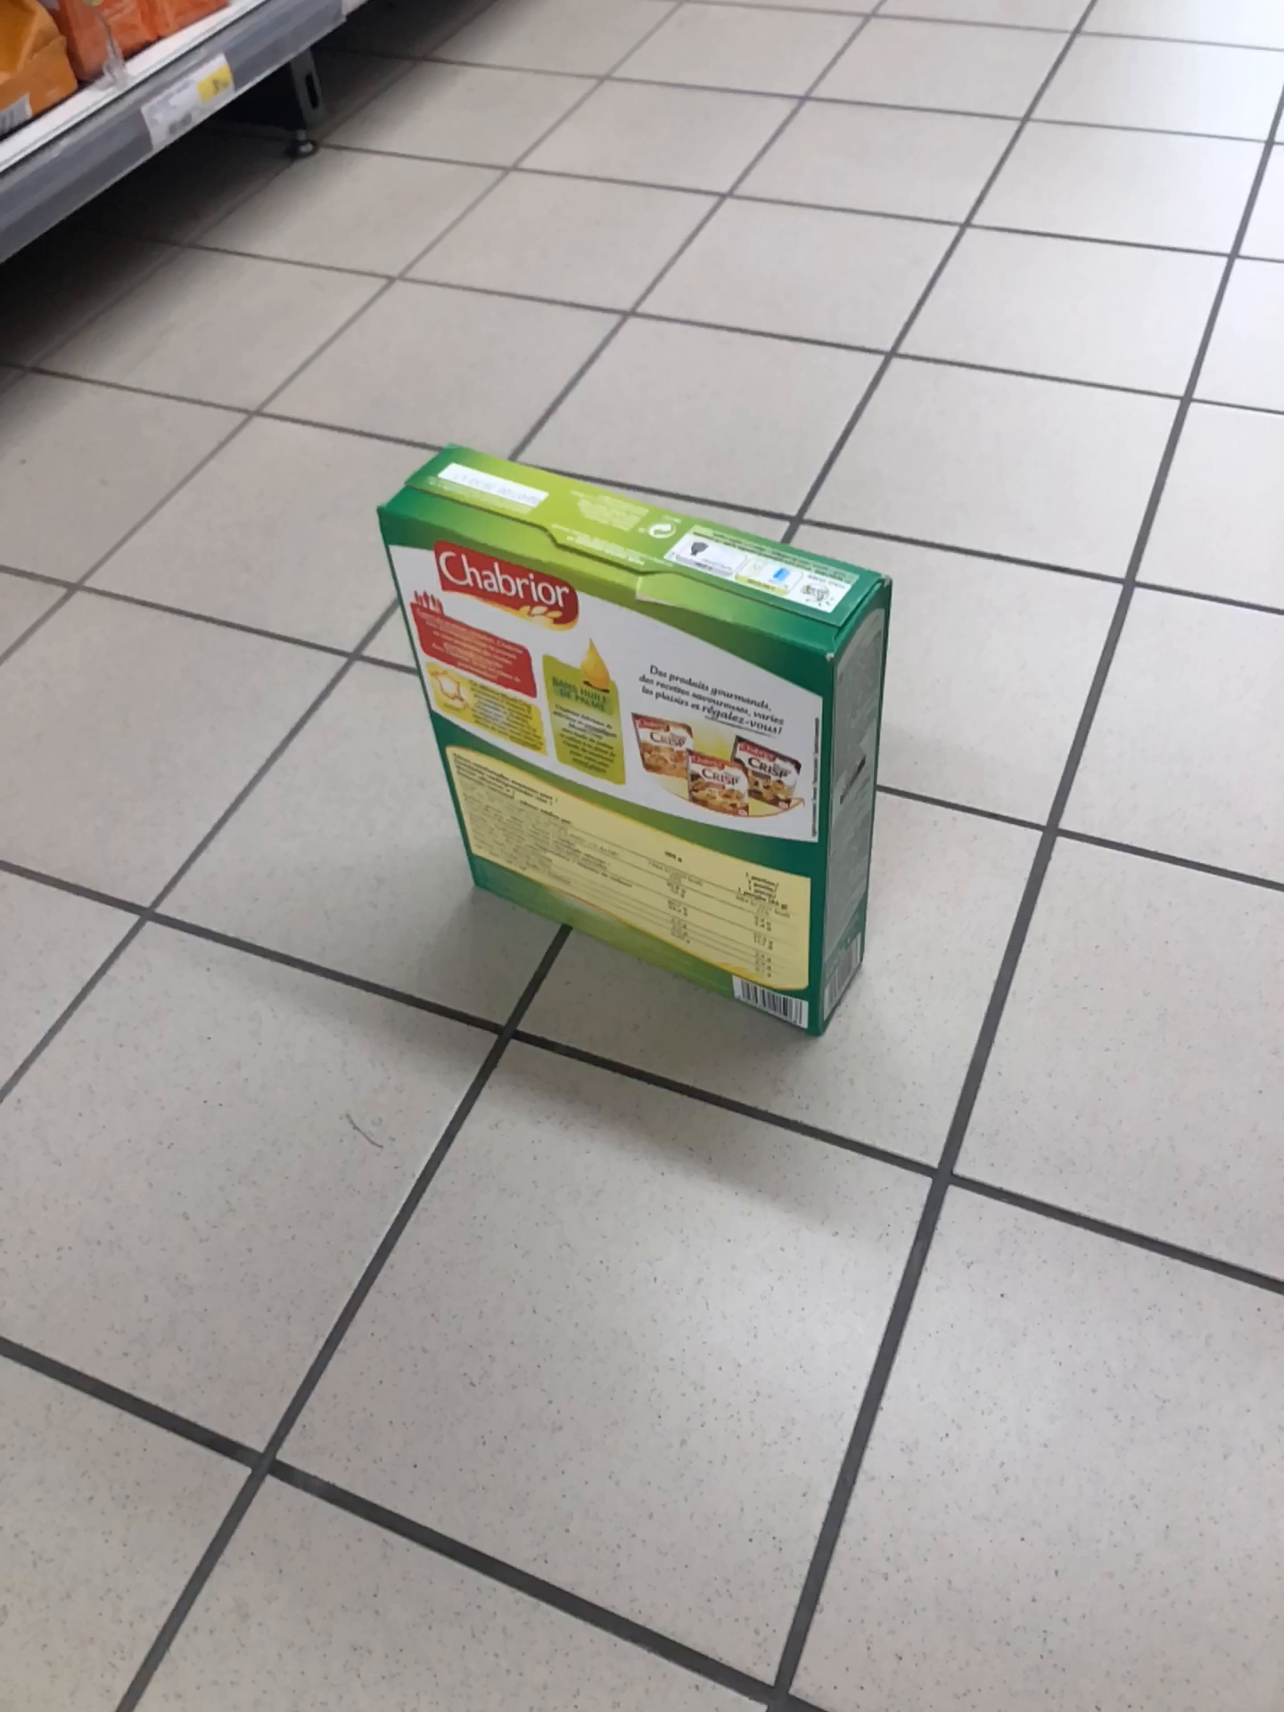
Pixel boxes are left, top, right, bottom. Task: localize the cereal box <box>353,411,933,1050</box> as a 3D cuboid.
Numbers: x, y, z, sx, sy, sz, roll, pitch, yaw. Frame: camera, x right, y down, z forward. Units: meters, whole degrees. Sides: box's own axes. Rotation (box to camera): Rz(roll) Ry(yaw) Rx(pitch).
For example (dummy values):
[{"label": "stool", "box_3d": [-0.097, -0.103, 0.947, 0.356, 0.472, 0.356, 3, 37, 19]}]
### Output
[{"label": "cereal box", "box_3d": [0.003, -0.045, 0.574, 0.200, 0.219, 0.060, 22, 54, 23]}]
